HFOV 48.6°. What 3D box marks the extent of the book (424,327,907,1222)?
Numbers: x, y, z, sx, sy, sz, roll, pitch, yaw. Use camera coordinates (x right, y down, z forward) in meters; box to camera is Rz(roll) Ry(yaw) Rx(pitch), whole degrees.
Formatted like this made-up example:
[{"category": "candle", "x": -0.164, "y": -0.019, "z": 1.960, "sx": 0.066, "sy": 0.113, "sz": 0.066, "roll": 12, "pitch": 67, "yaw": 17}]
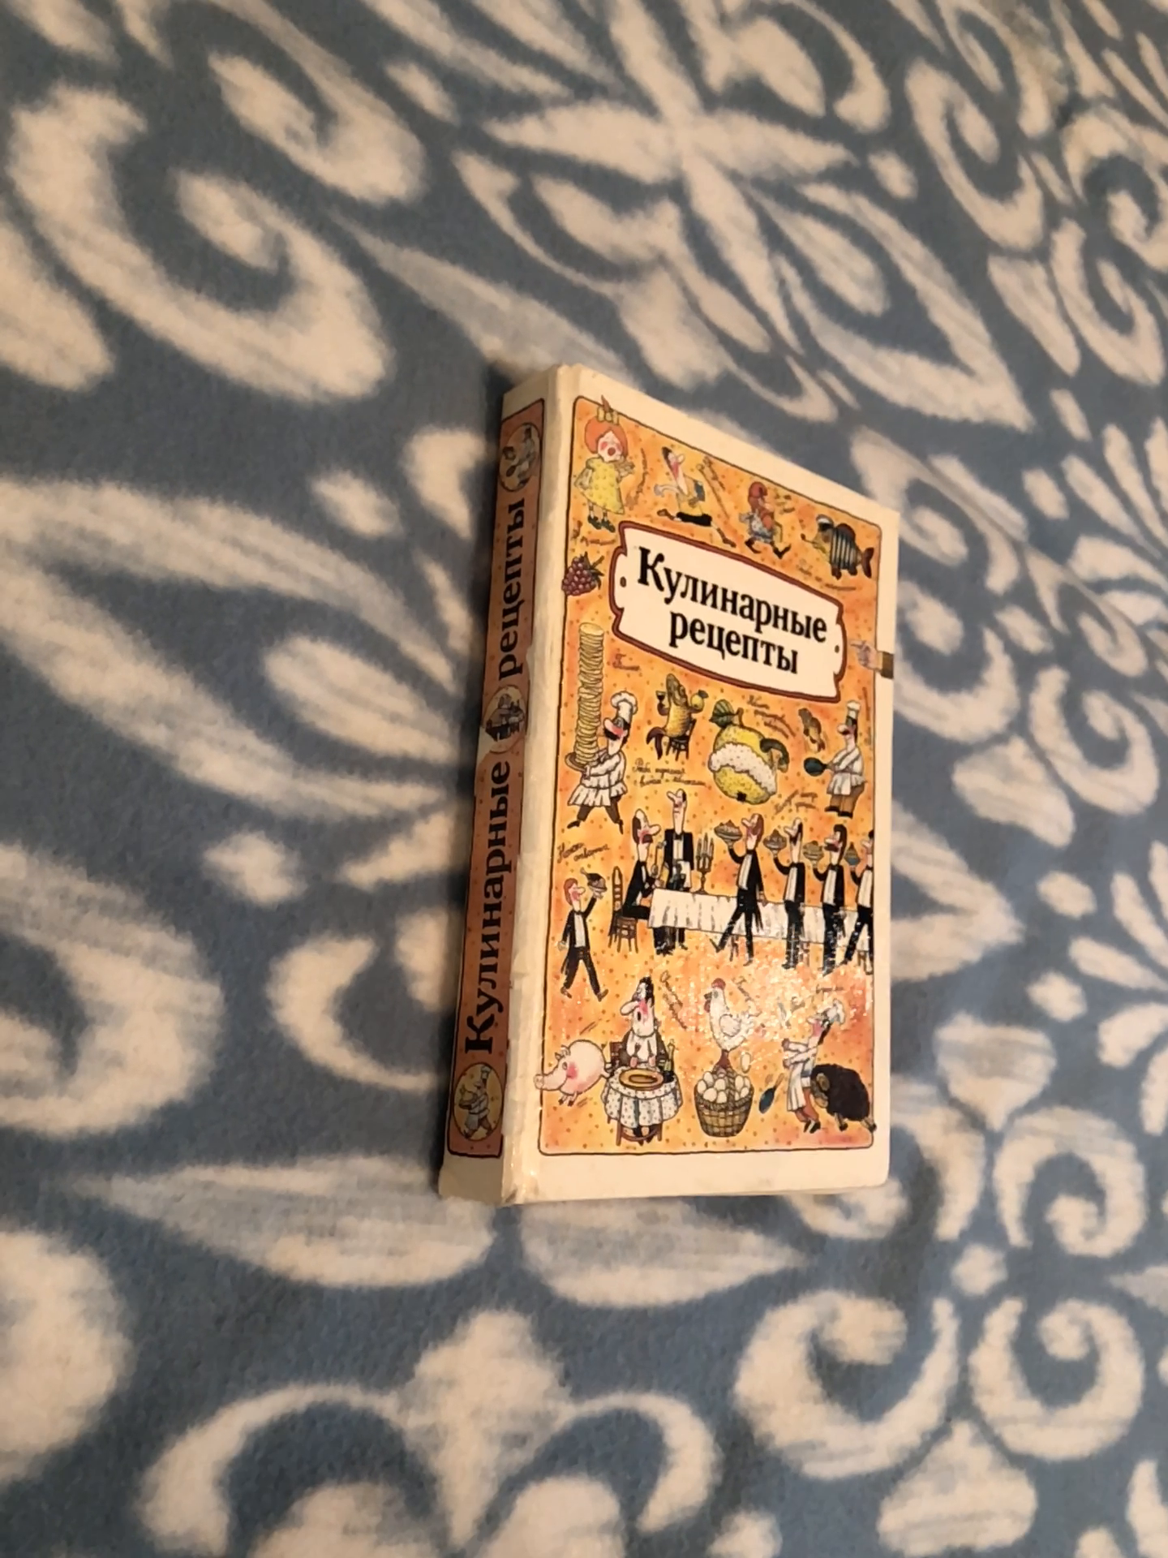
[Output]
[{"category": "book", "x": 0.033, "y": 0.005, "z": 0.366, "sx": 0.142, "sy": 0.032, "sz": 0.220, "roll": 12, "pitch": 76, "yaw": -37}]
